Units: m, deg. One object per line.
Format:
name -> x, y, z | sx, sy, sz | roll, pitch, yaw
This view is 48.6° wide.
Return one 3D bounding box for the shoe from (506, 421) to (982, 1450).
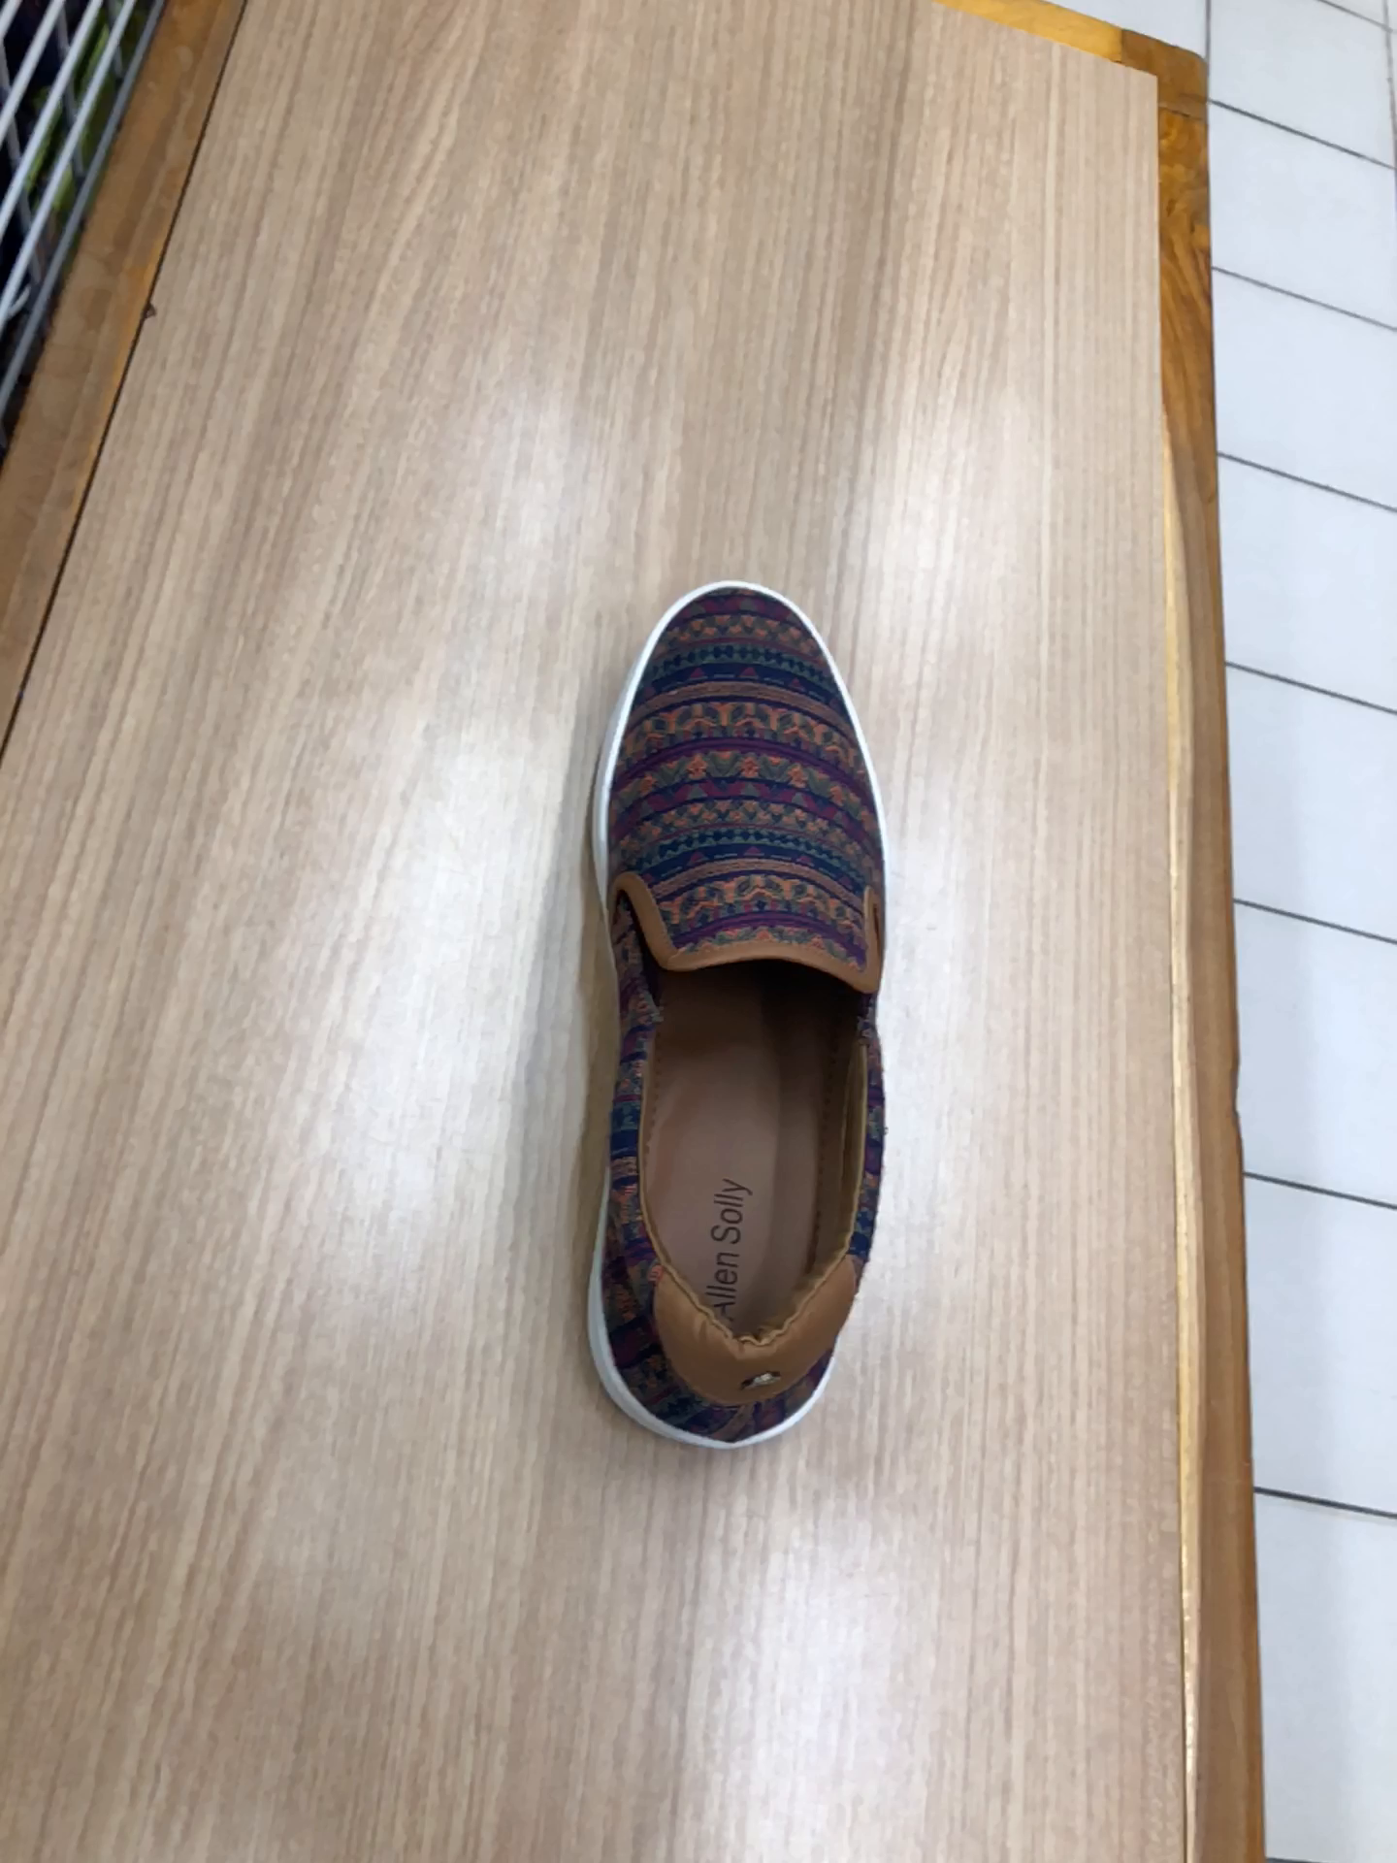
shoe -> 0.014, 0.002, 0.445 | 0.100, 0.090, 0.271 | 8, 68, -13
